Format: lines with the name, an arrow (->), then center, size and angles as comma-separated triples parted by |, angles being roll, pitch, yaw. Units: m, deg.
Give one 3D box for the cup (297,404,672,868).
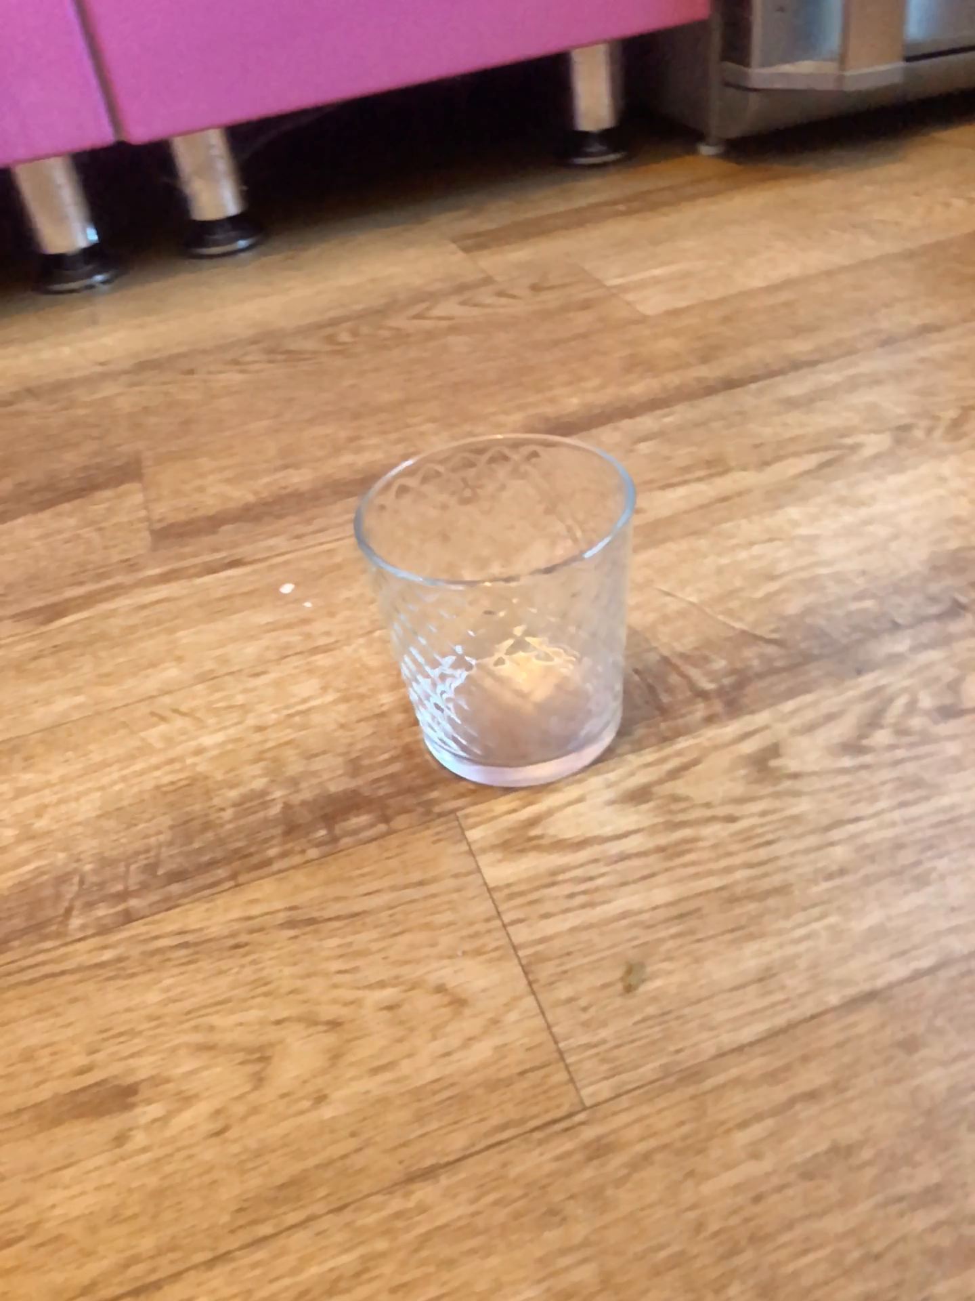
cup -> 0.000, -0.007, 0.321 | 0.080, 0.090, 0.080 | -5, 38, 4
